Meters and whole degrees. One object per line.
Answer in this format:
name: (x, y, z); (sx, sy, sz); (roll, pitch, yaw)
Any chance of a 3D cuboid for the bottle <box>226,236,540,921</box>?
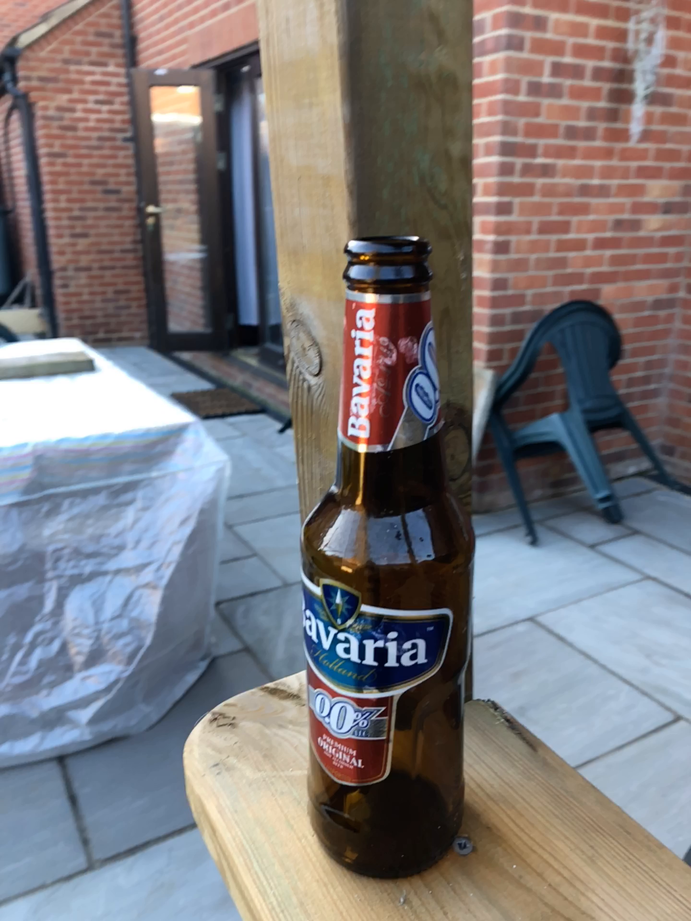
bottle: (0.011, 0.036, 0.256); (0.070, 0.209, 0.060); (14, 23, 37)
